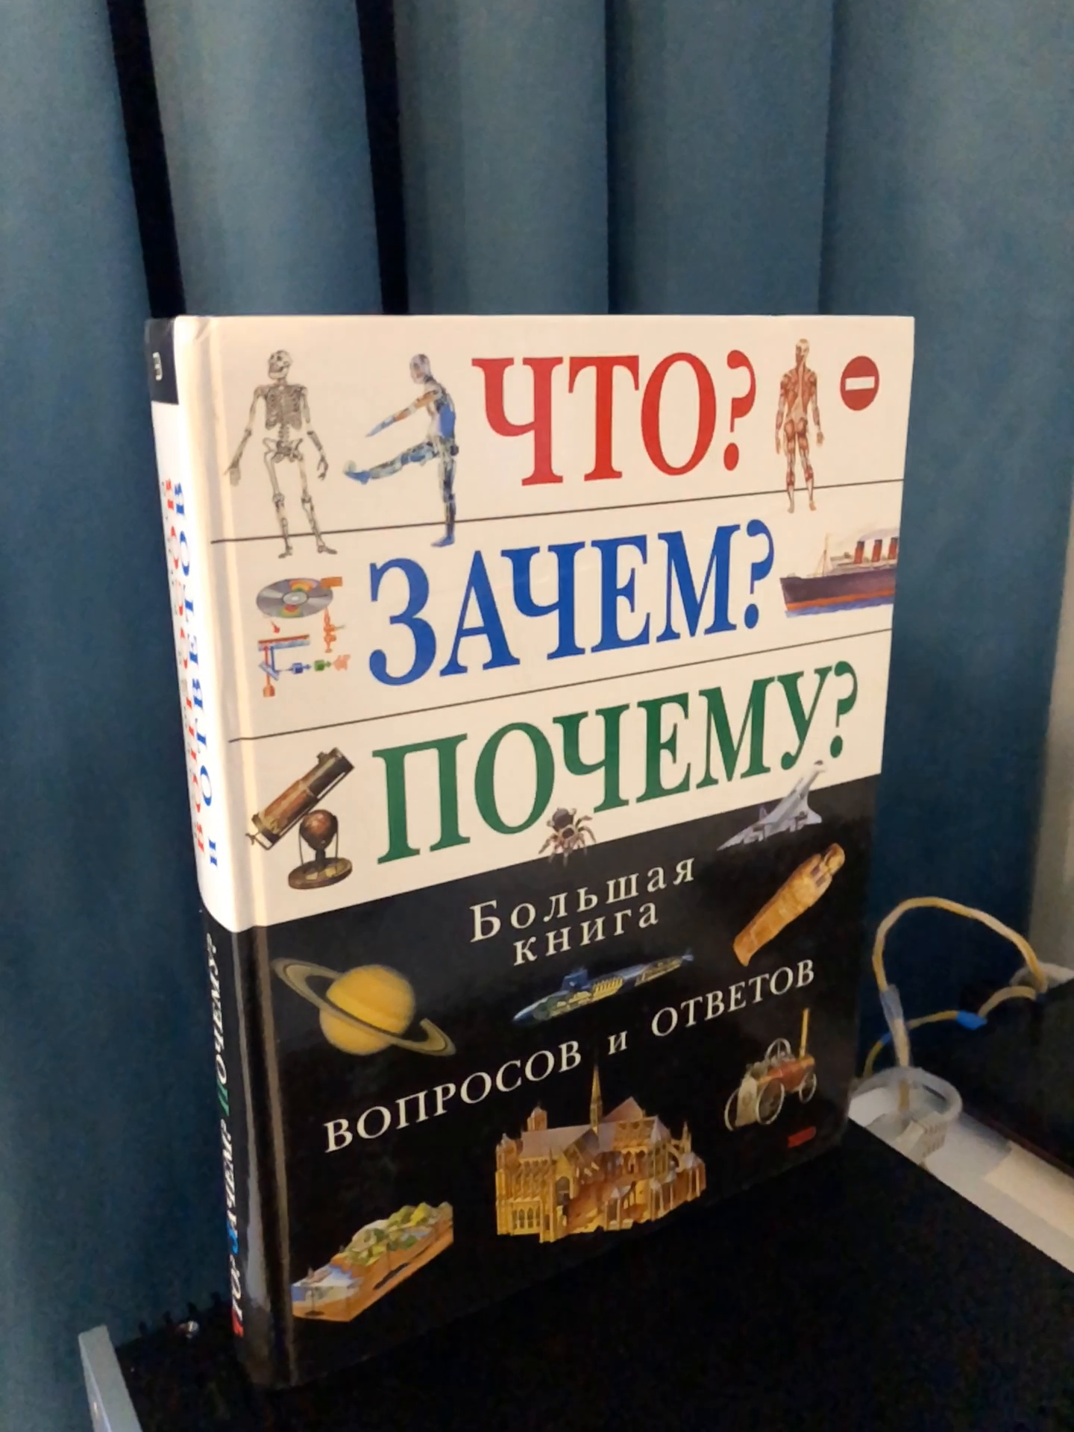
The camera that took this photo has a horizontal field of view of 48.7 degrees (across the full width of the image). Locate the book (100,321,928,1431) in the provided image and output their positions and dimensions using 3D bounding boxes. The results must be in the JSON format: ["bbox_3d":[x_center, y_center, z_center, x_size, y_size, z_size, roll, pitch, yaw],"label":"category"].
[{"bbox_3d":[0.008,0.041,0.354,0.225,0.301,0.042,-10,20,-29],"label":"book"}]
